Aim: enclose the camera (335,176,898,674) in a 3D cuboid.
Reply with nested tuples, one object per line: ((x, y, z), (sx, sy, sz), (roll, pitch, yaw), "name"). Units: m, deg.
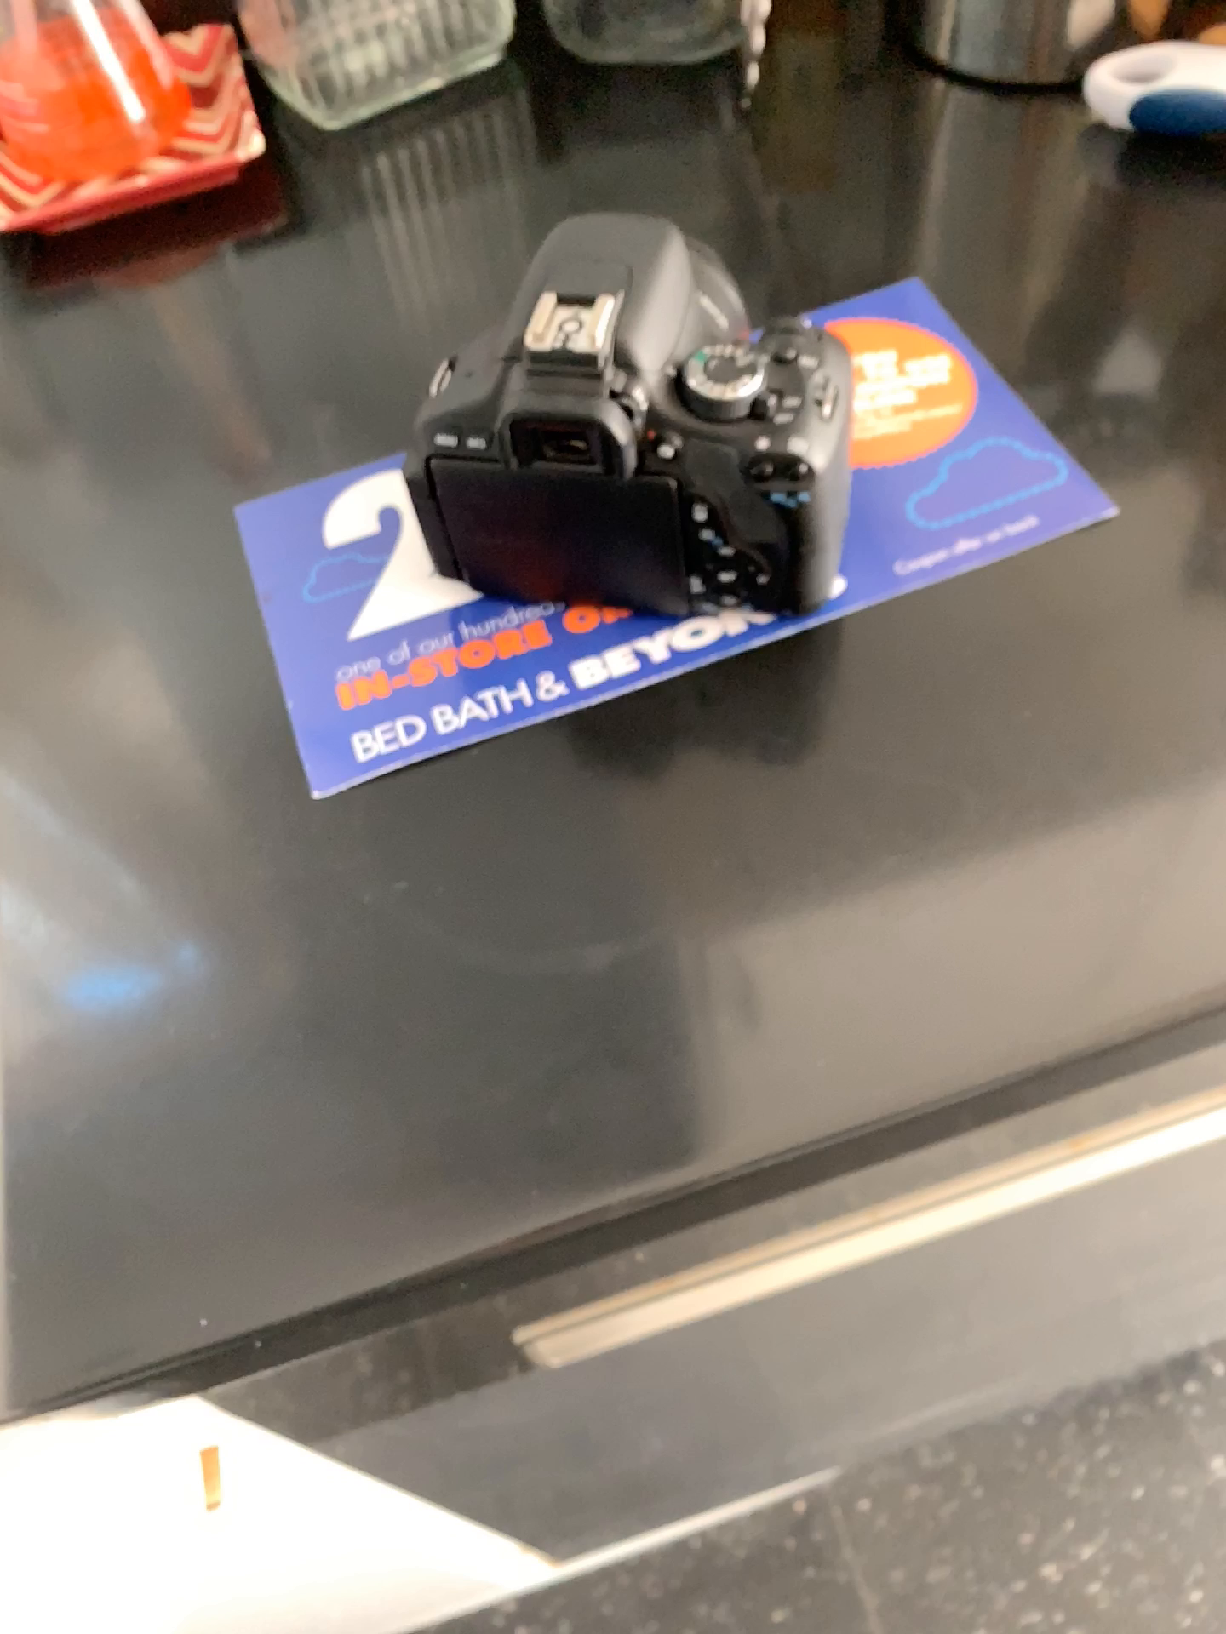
((0.008, -0.119, 0.387), (0.133, 0.088, 0.103), (9, 58, 14), "camera")
